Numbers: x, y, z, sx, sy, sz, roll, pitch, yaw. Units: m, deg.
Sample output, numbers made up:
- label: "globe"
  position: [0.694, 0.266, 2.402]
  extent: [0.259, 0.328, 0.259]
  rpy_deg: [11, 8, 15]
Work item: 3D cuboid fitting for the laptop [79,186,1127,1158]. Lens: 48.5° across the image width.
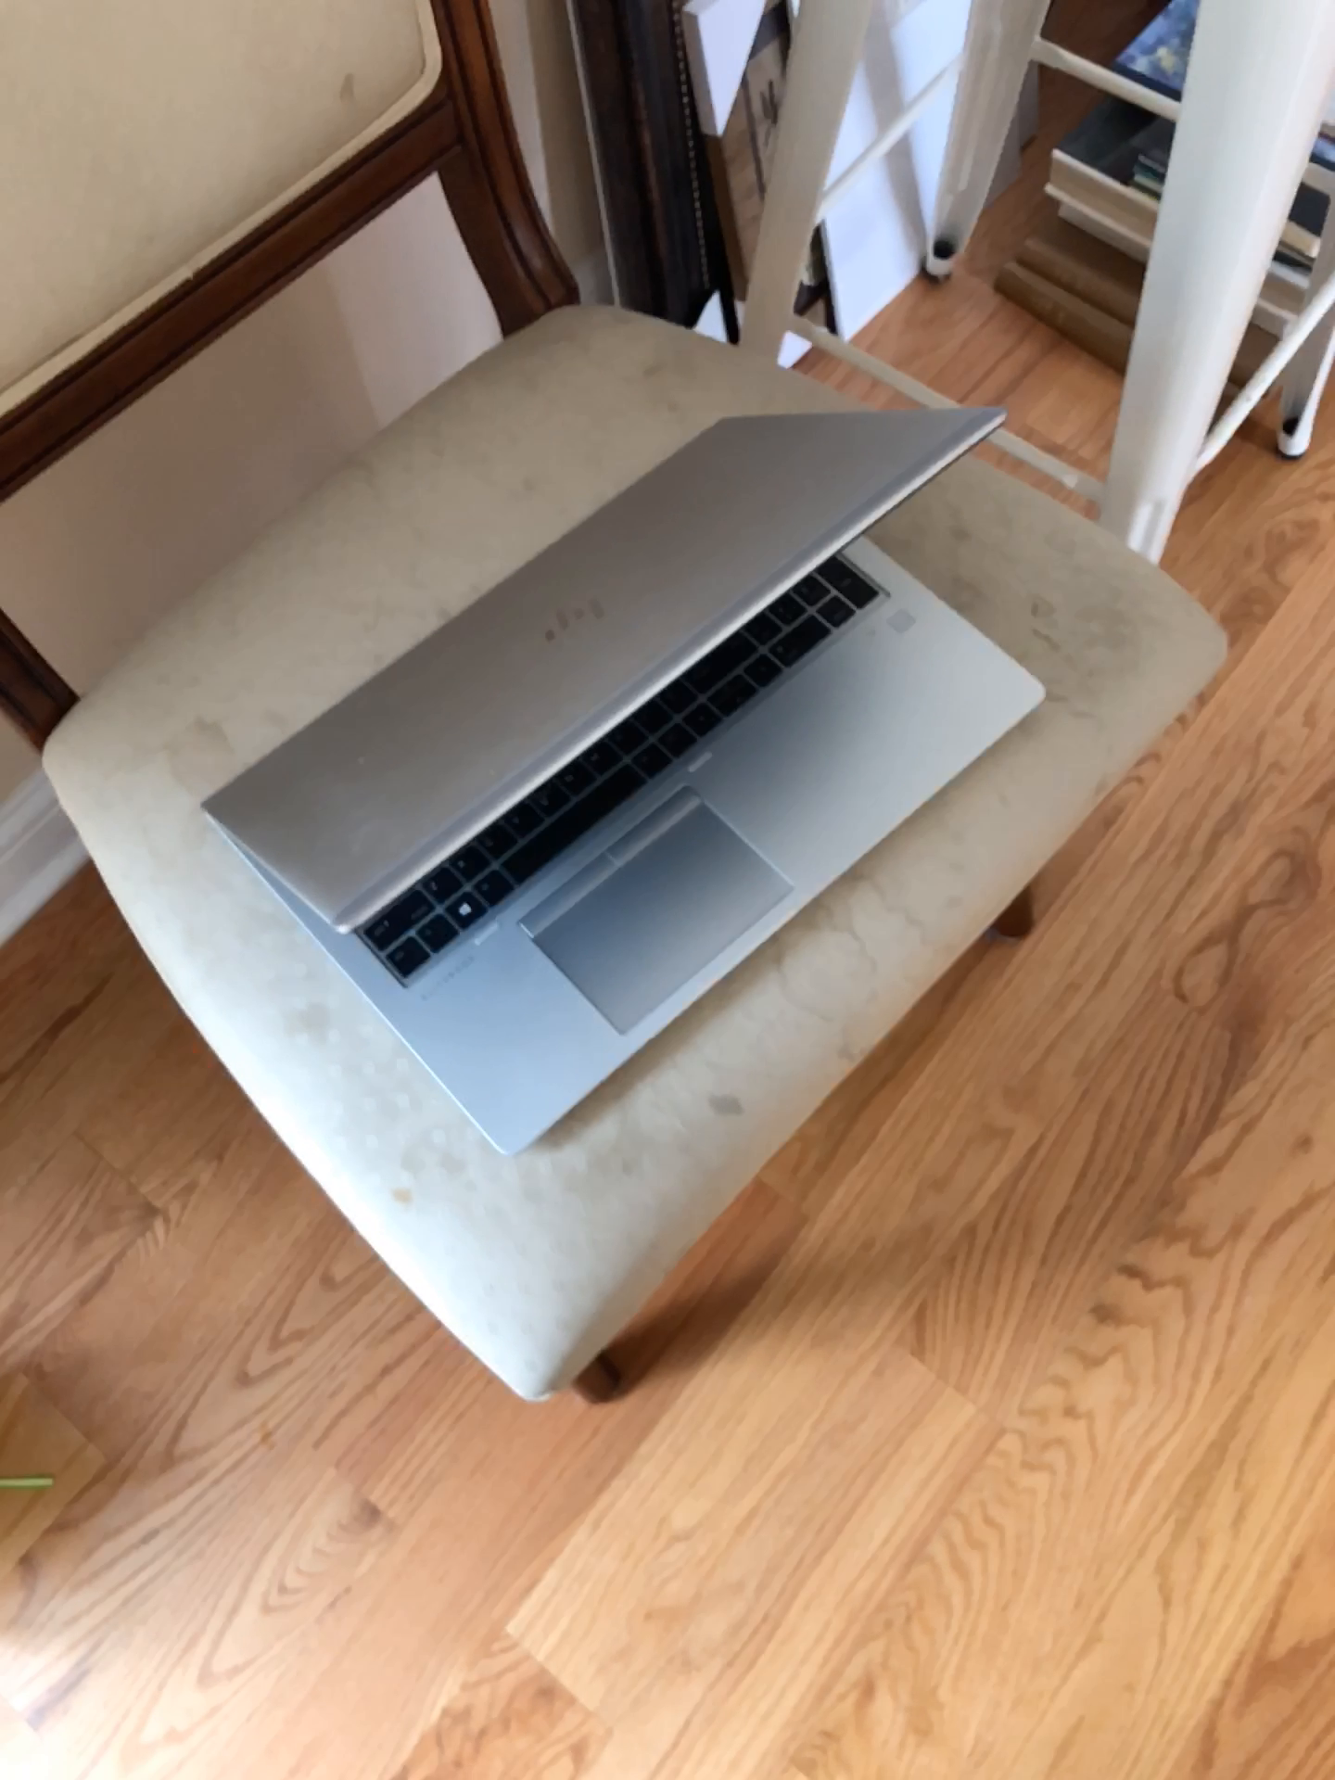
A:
- label: "laptop"
  position: [-0.022, -0.105, 0.691]
  extent: [0.365, 0.159, 0.244]
  rpy_deg: [-40, 71, -14]
